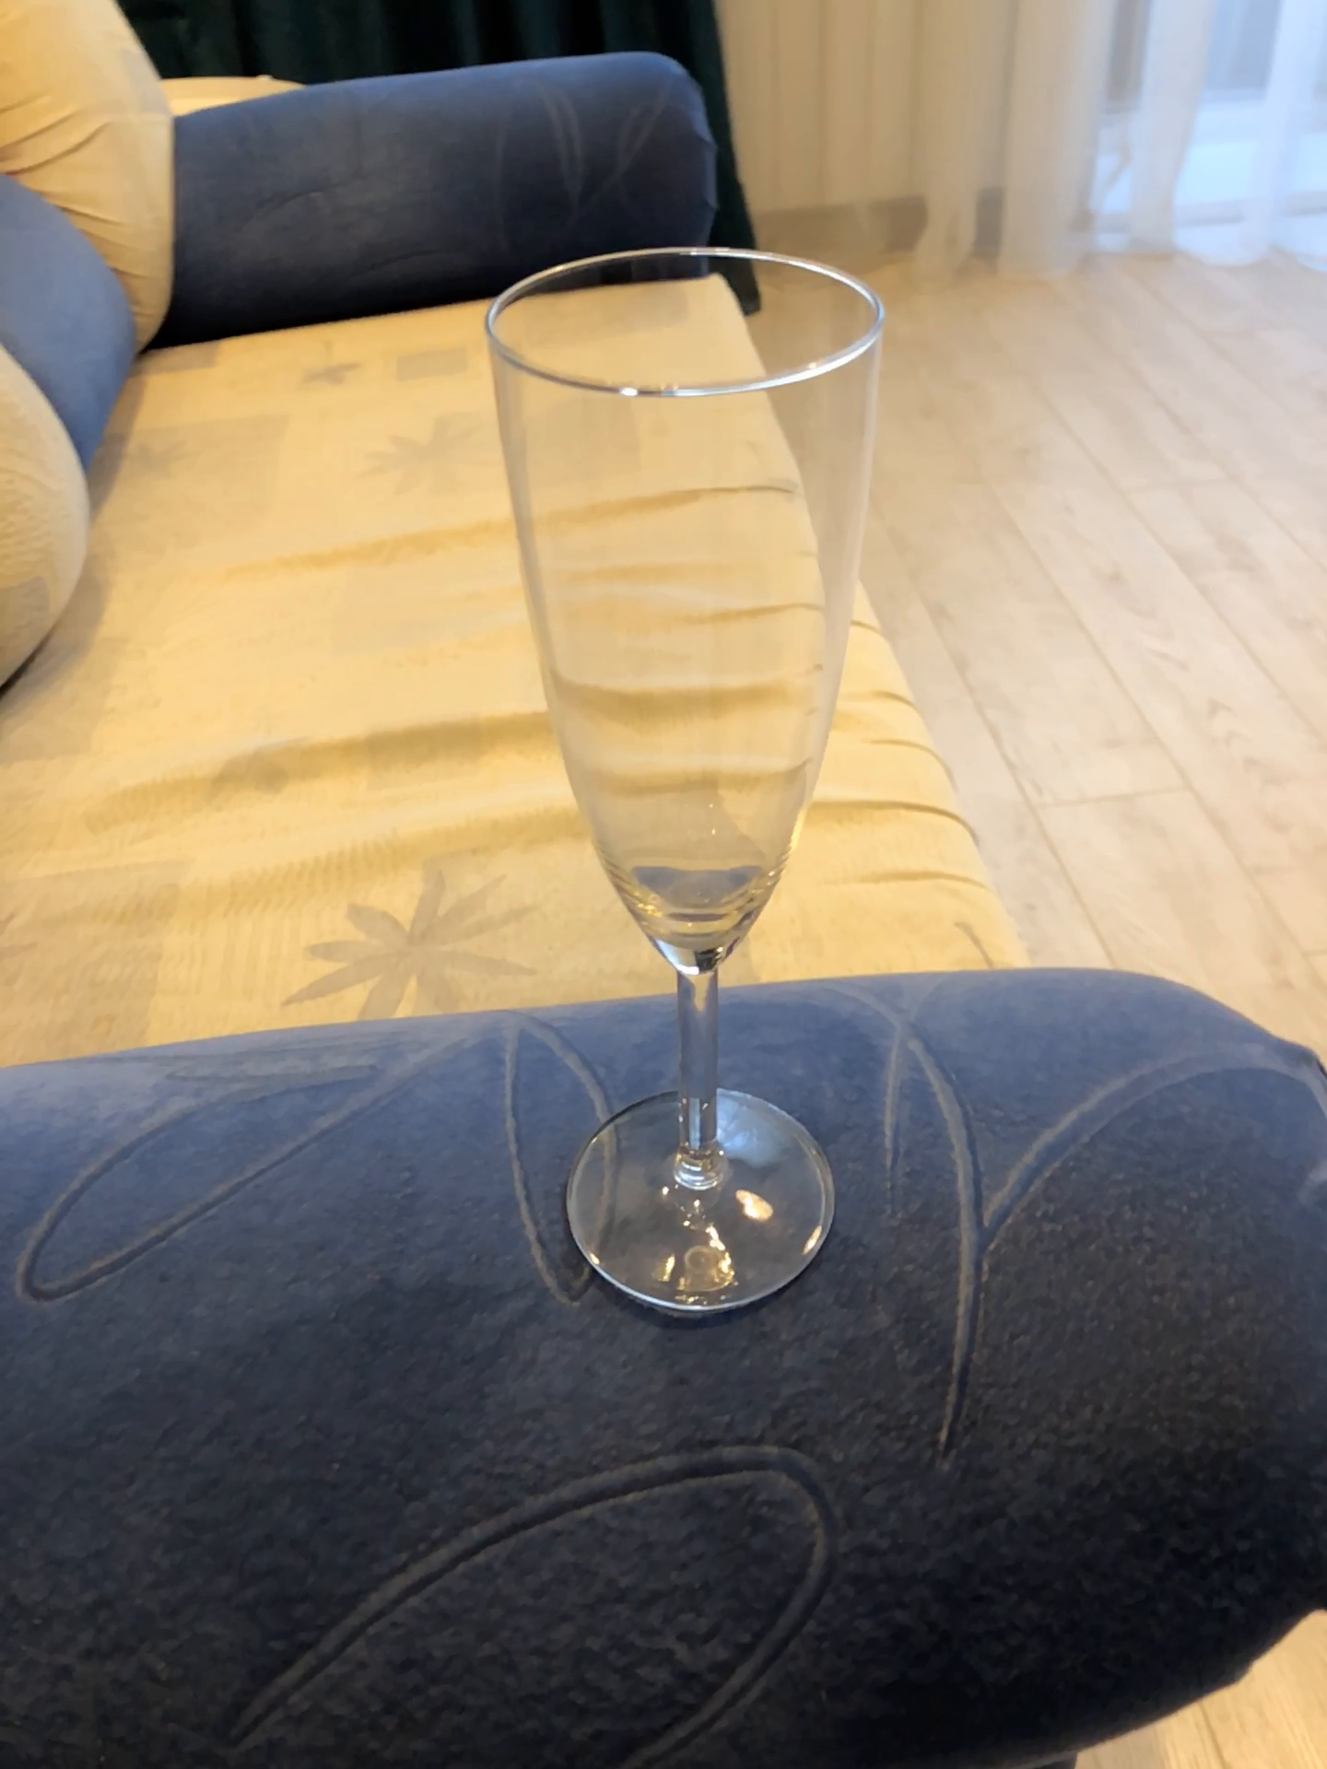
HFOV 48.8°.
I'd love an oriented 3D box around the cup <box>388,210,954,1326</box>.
[{"bbox_3d":[0.007,-0.008,0.292,0.076,0.214,0.072,-3,39,2],"label":"cup"}]
